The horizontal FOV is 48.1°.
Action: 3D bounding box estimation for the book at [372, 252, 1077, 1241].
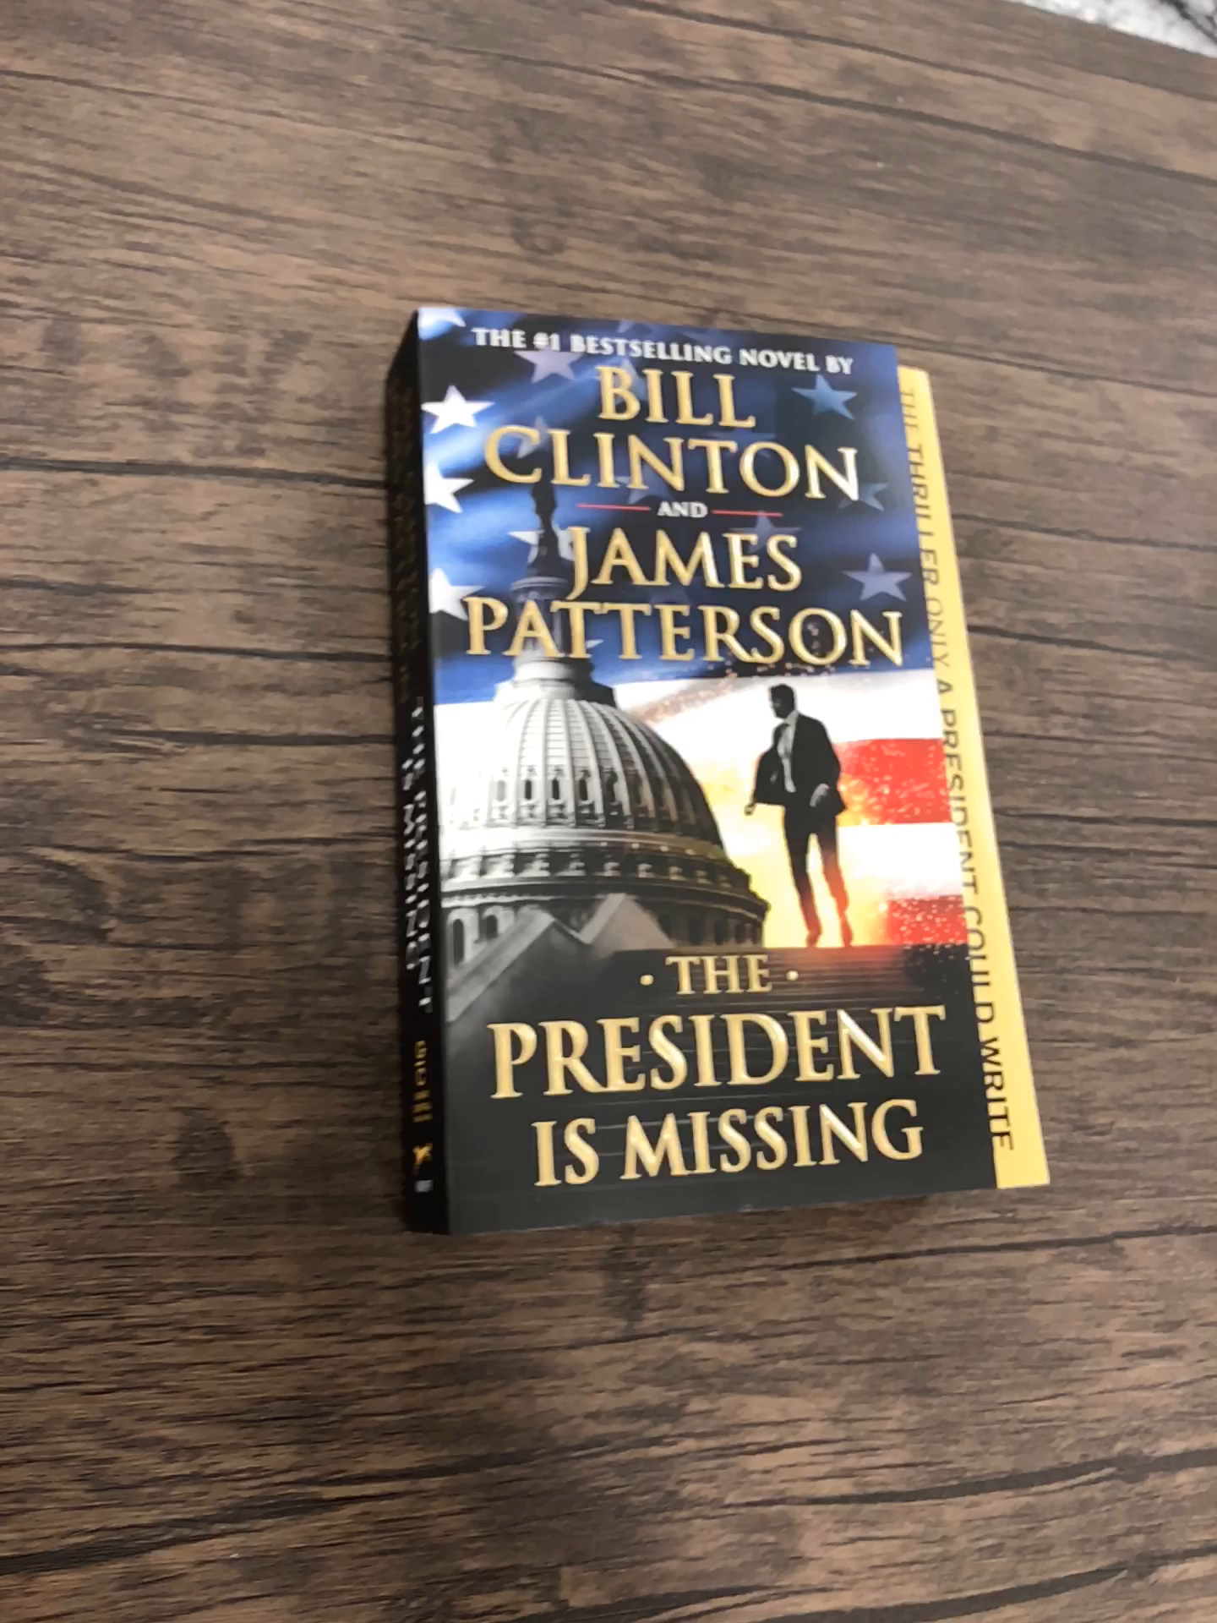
[{"bbox_3d":[0.021,-0.016,0.331,0.140,0.054,0.216,0,75,-19],"label":"book"}]
